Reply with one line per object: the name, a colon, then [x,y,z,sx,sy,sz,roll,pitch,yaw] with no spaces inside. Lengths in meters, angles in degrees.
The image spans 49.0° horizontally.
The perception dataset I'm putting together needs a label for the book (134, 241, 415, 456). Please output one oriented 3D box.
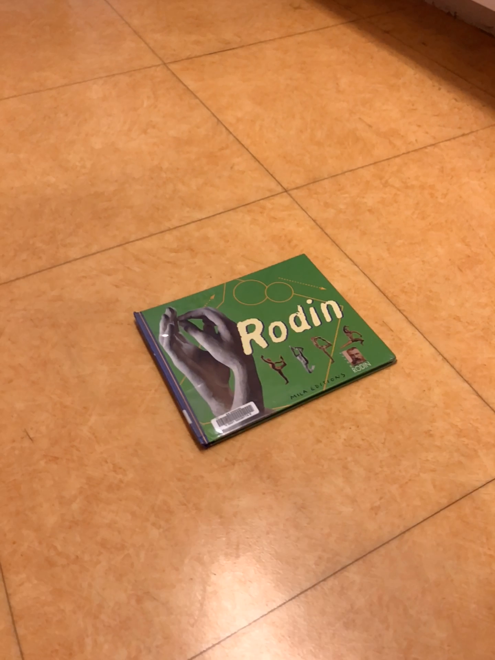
book: [0.025,0.004,0.612,0.244,0.030,0.200,-21,52,-18]
